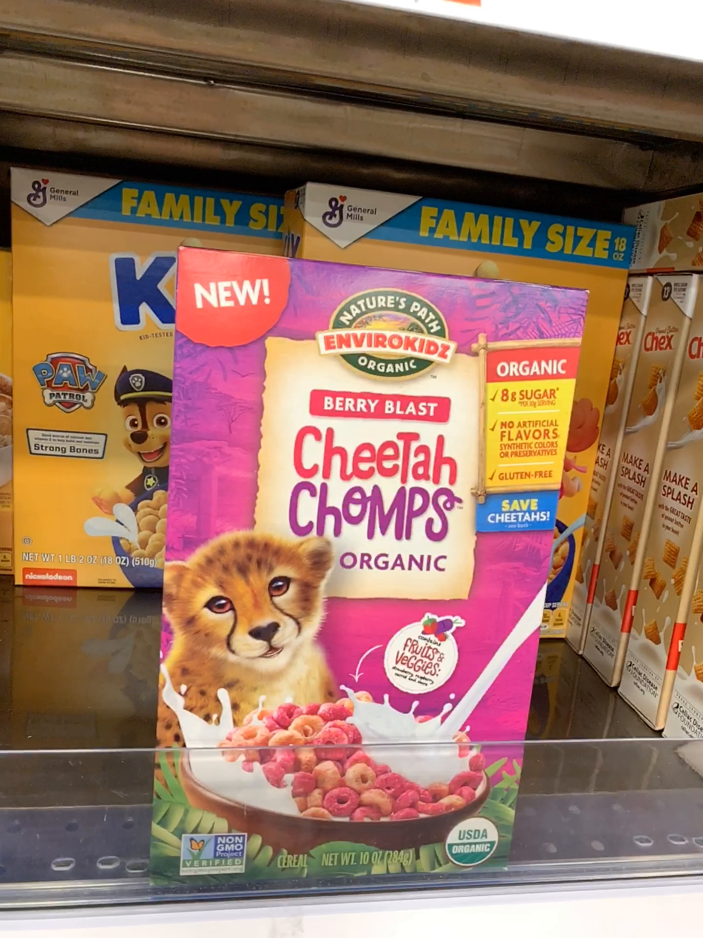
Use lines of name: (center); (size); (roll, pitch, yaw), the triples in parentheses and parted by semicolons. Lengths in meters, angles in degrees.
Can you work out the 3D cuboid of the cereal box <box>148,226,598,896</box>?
cereal box: (0.001, 0.045, 0.323); (0.160, 0.269, 0.060); (3, 10, -10)
